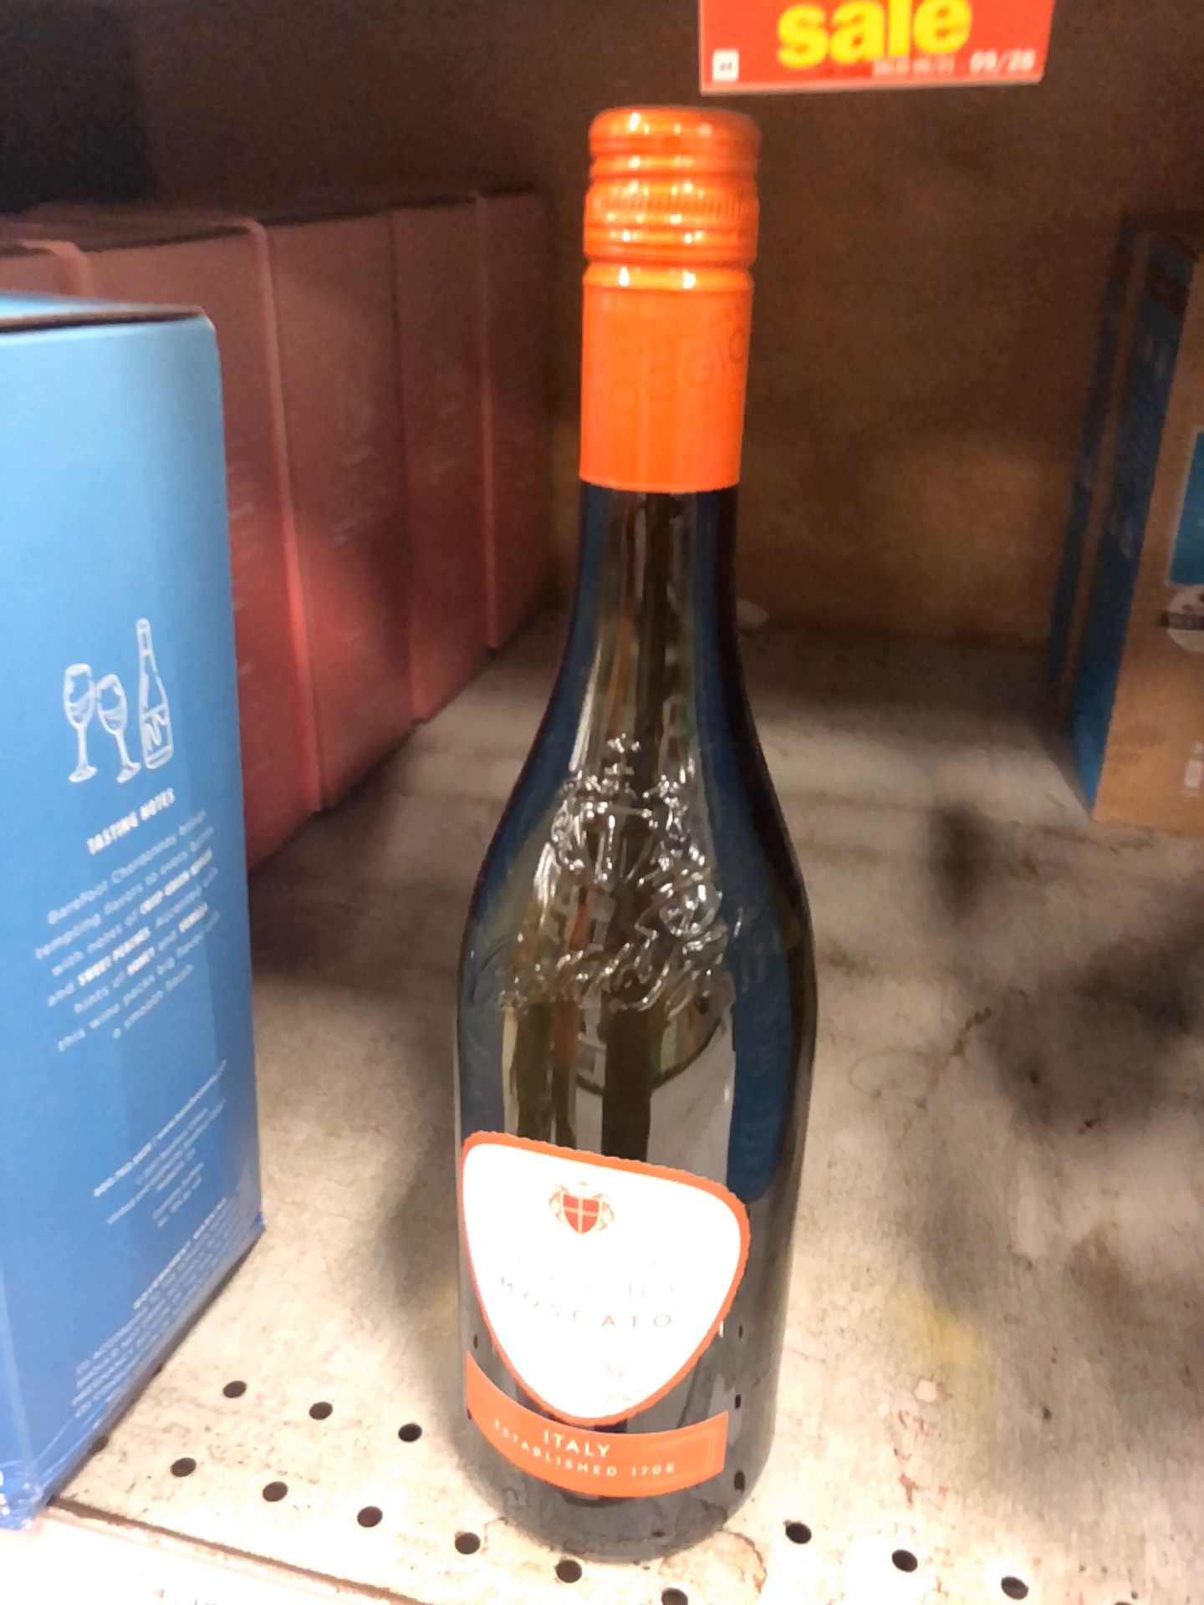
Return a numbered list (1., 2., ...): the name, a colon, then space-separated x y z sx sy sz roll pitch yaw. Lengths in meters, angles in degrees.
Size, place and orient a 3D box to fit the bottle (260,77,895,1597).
1. bottle: 0.001 0.025 0.267 0.080 0.299 0.070 6 28 11
